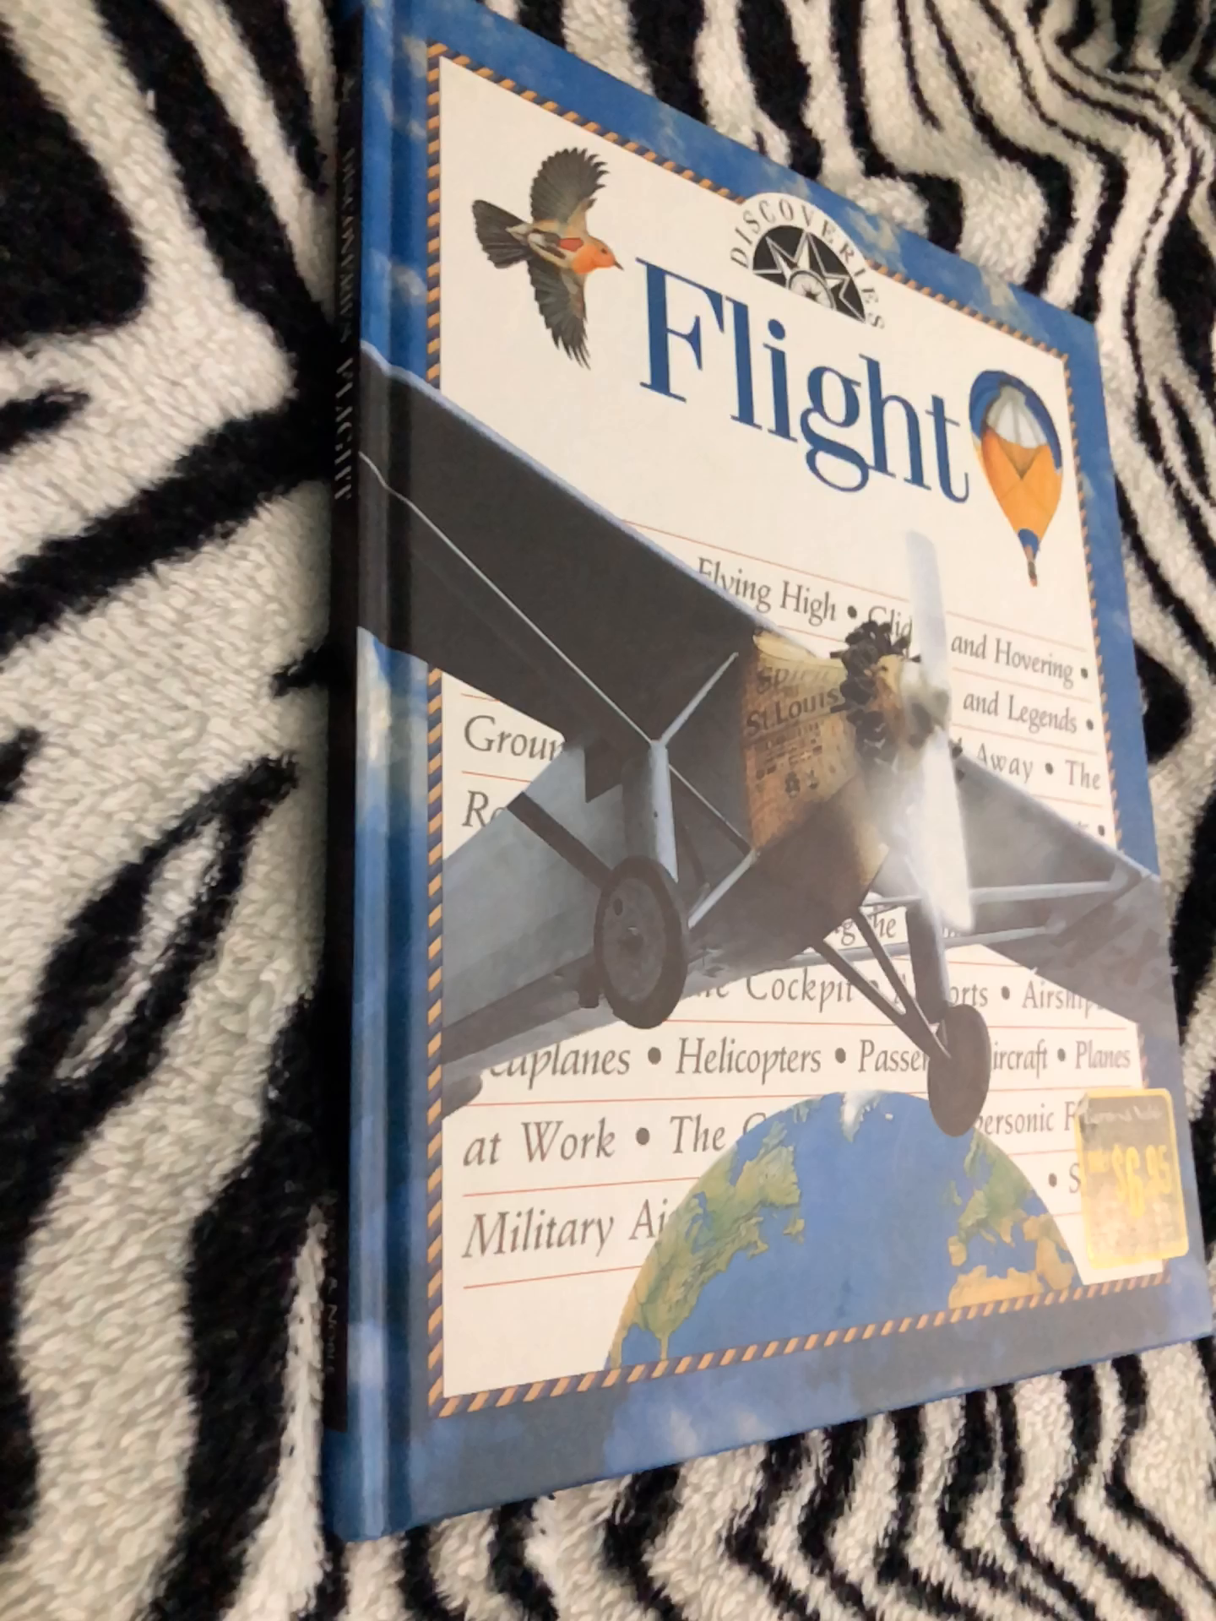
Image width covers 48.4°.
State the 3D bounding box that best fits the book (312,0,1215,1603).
[{"bbox_3d":[0.057,-0.015,0.317,0.260,0.020,0.300,8,74,-37],"label":"book"}]
